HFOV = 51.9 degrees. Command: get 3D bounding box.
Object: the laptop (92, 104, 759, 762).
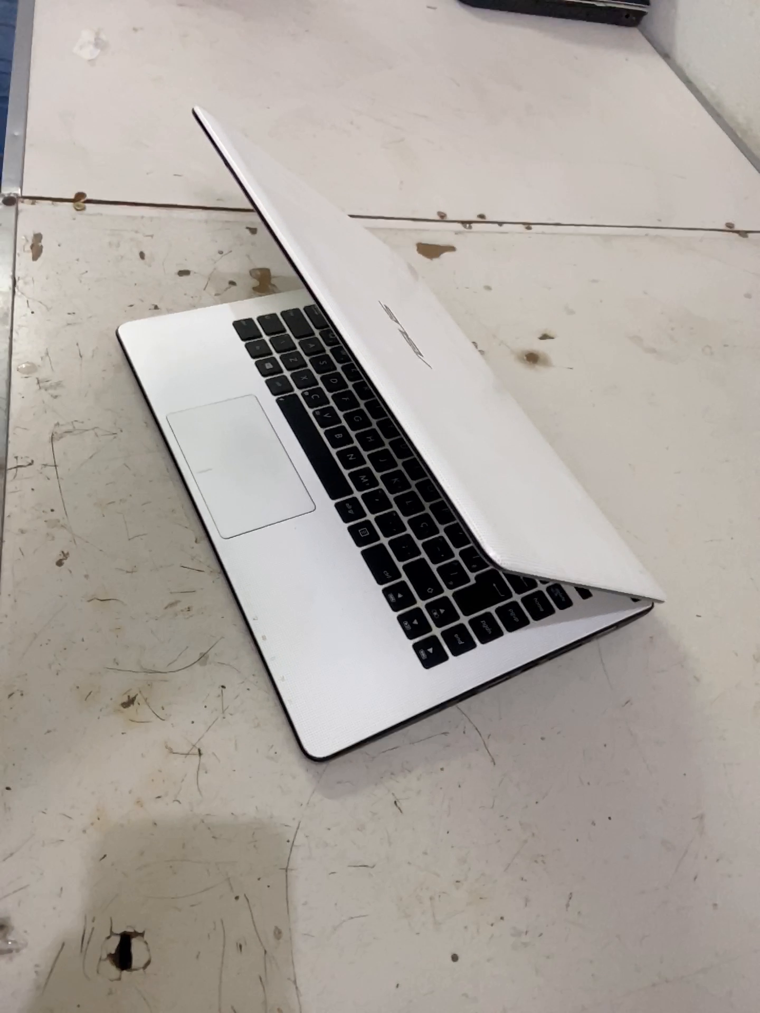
[{"bbox_3d":[0.002,-0.074,0.471,0.236,0.141,0.344,-18,59,-23],"label":"laptop"}]
